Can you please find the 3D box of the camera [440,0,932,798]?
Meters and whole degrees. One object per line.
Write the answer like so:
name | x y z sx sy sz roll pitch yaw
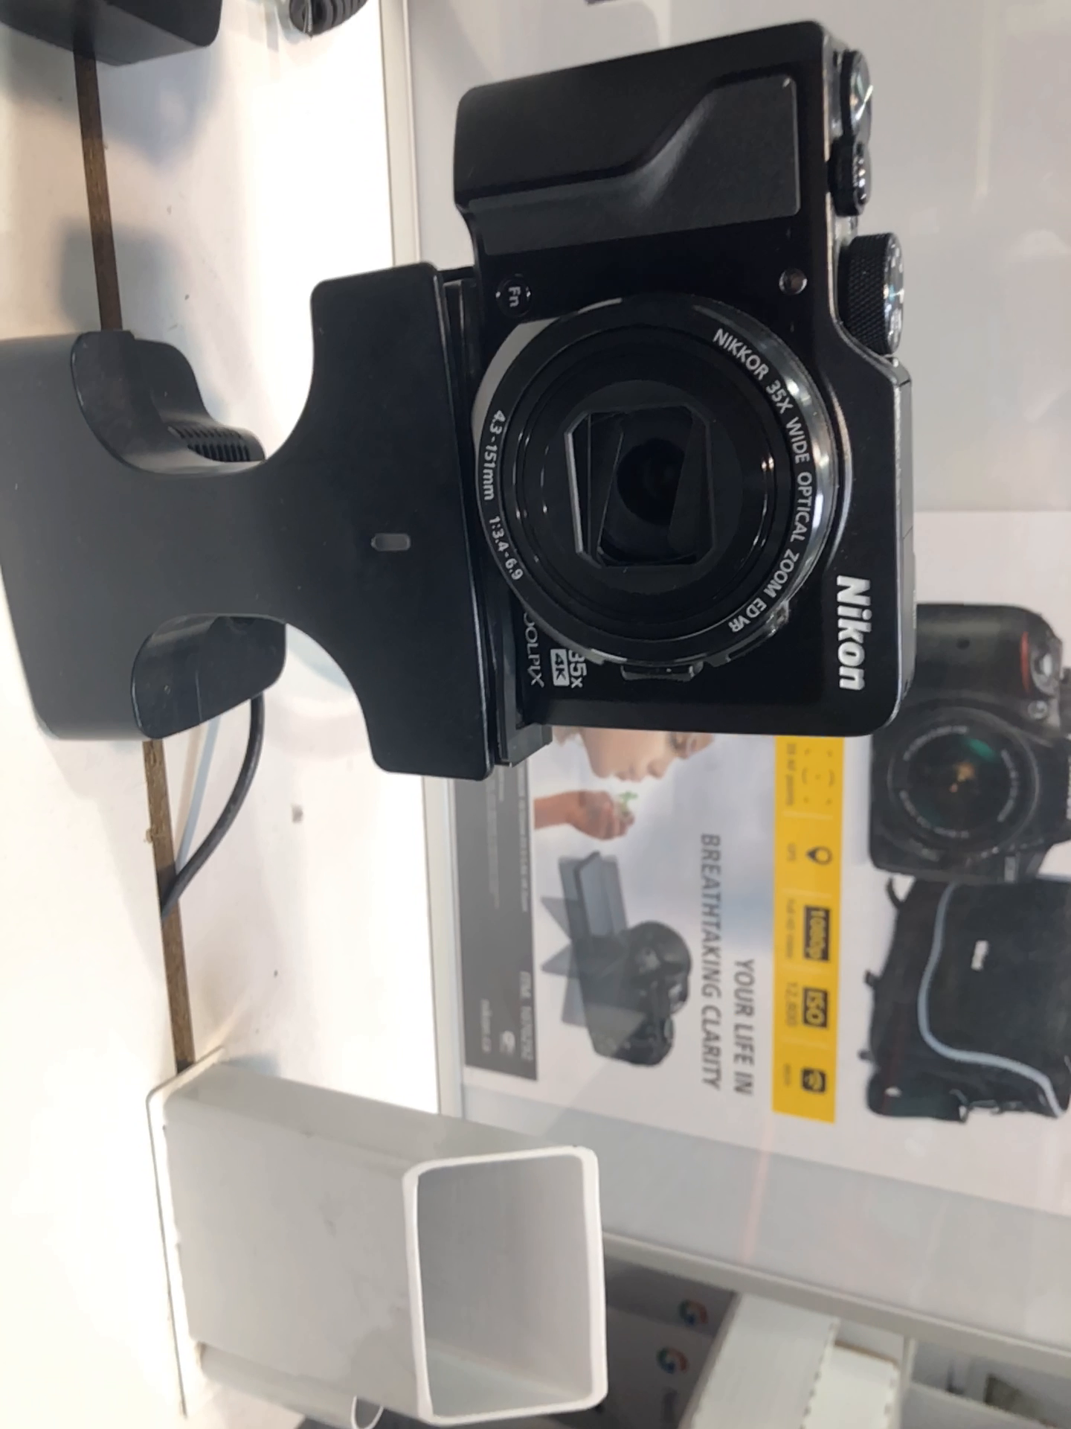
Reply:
camera | 0.030 -0.050 0.209 0.044 0.069 0.117 -50 138 -61
